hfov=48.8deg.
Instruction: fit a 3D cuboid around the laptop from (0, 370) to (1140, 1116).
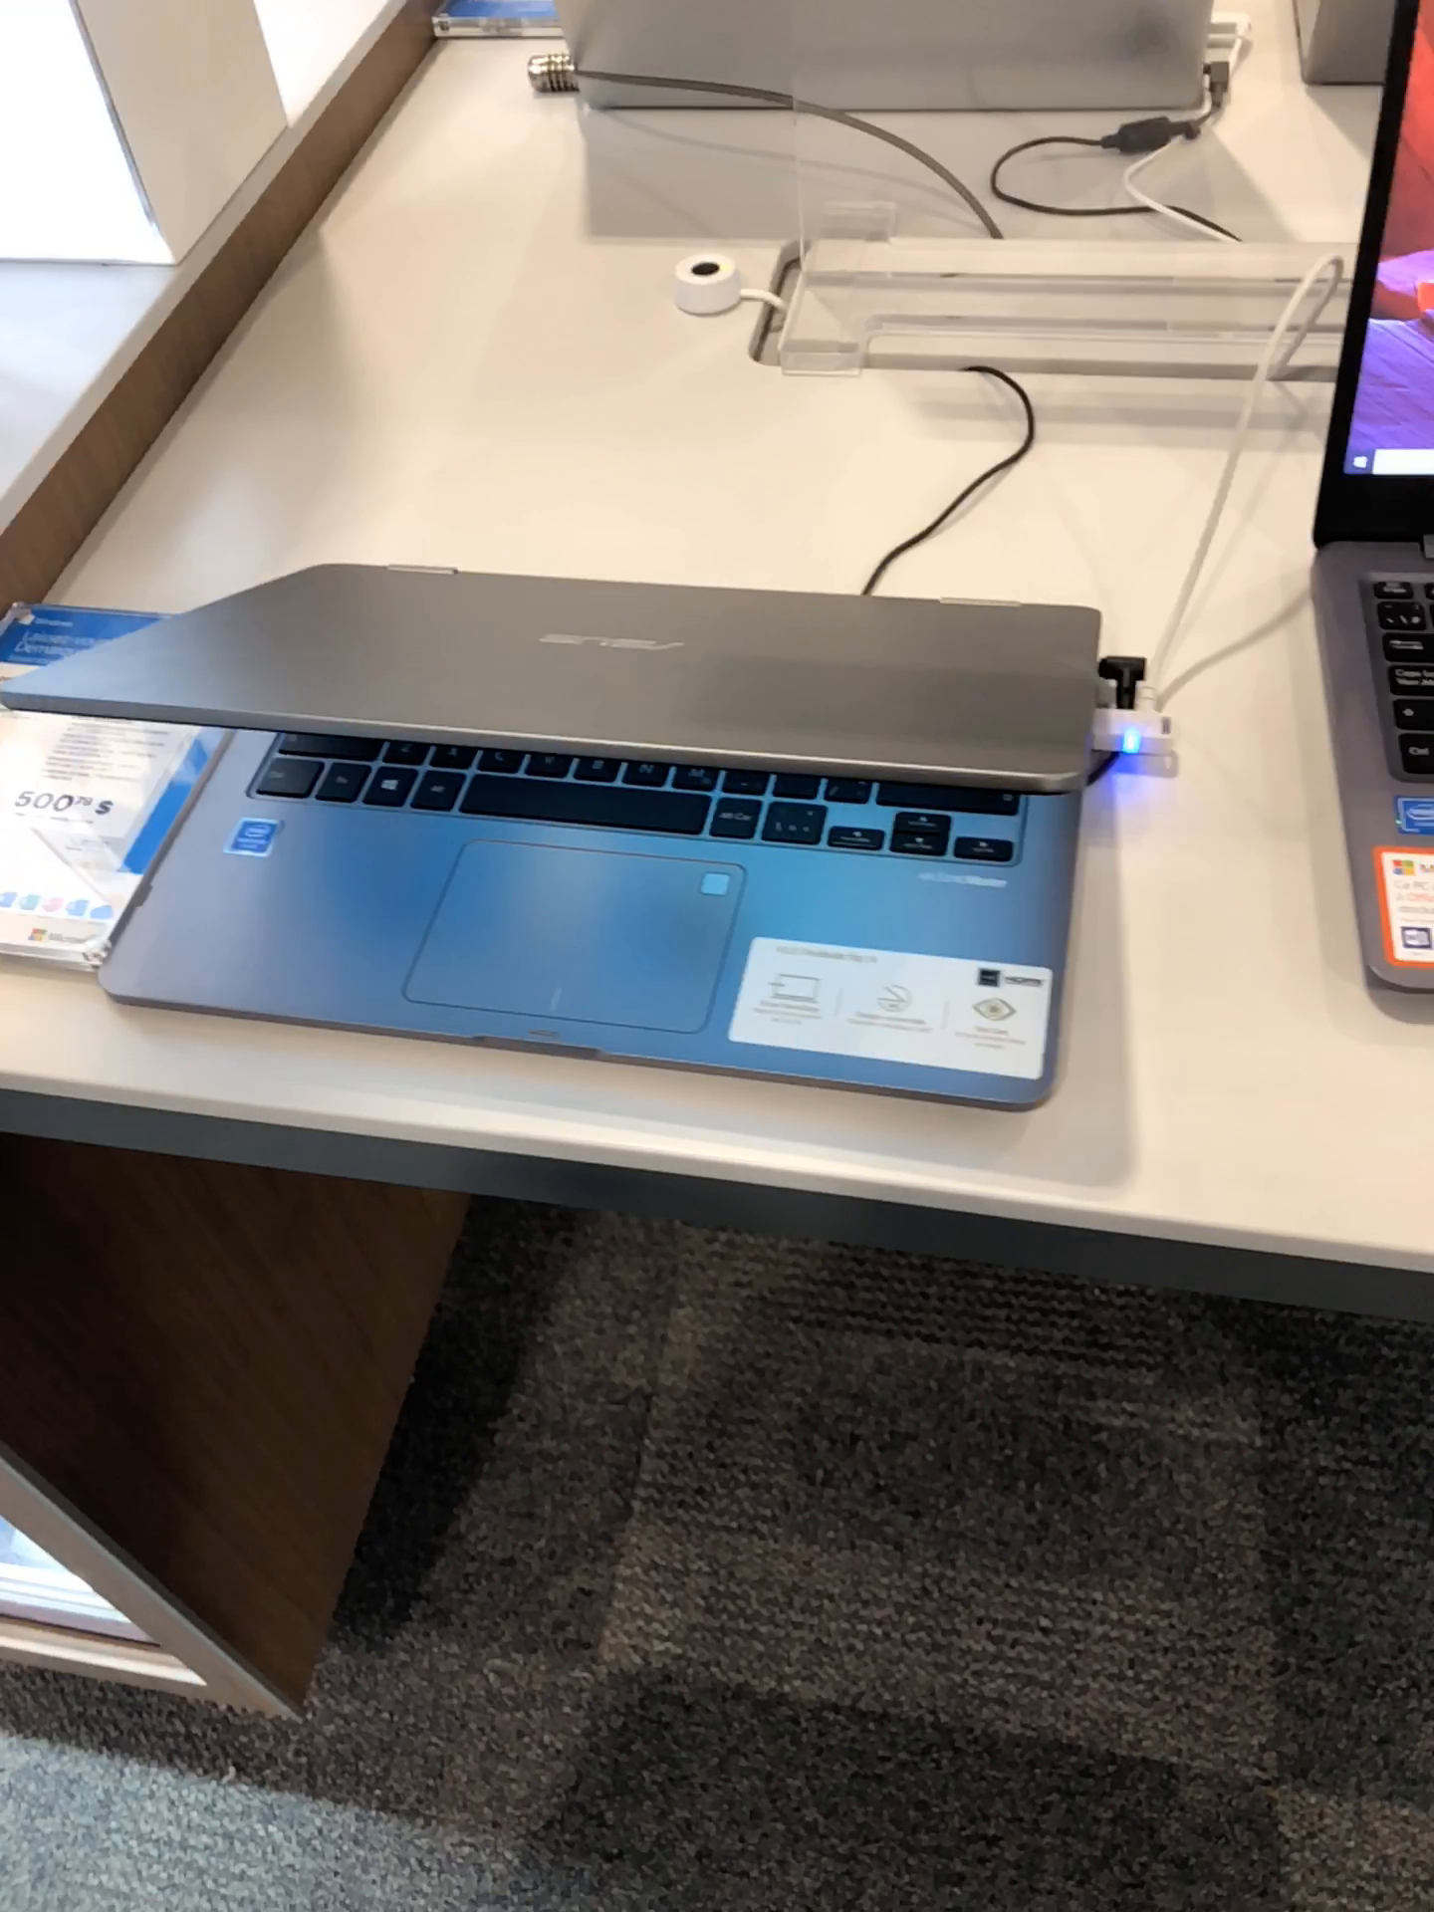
[{"bbox_3d":[-0.036,-0.085,0.529,0.321,0.105,0.215,6,52,13],"label":"laptop"}]
